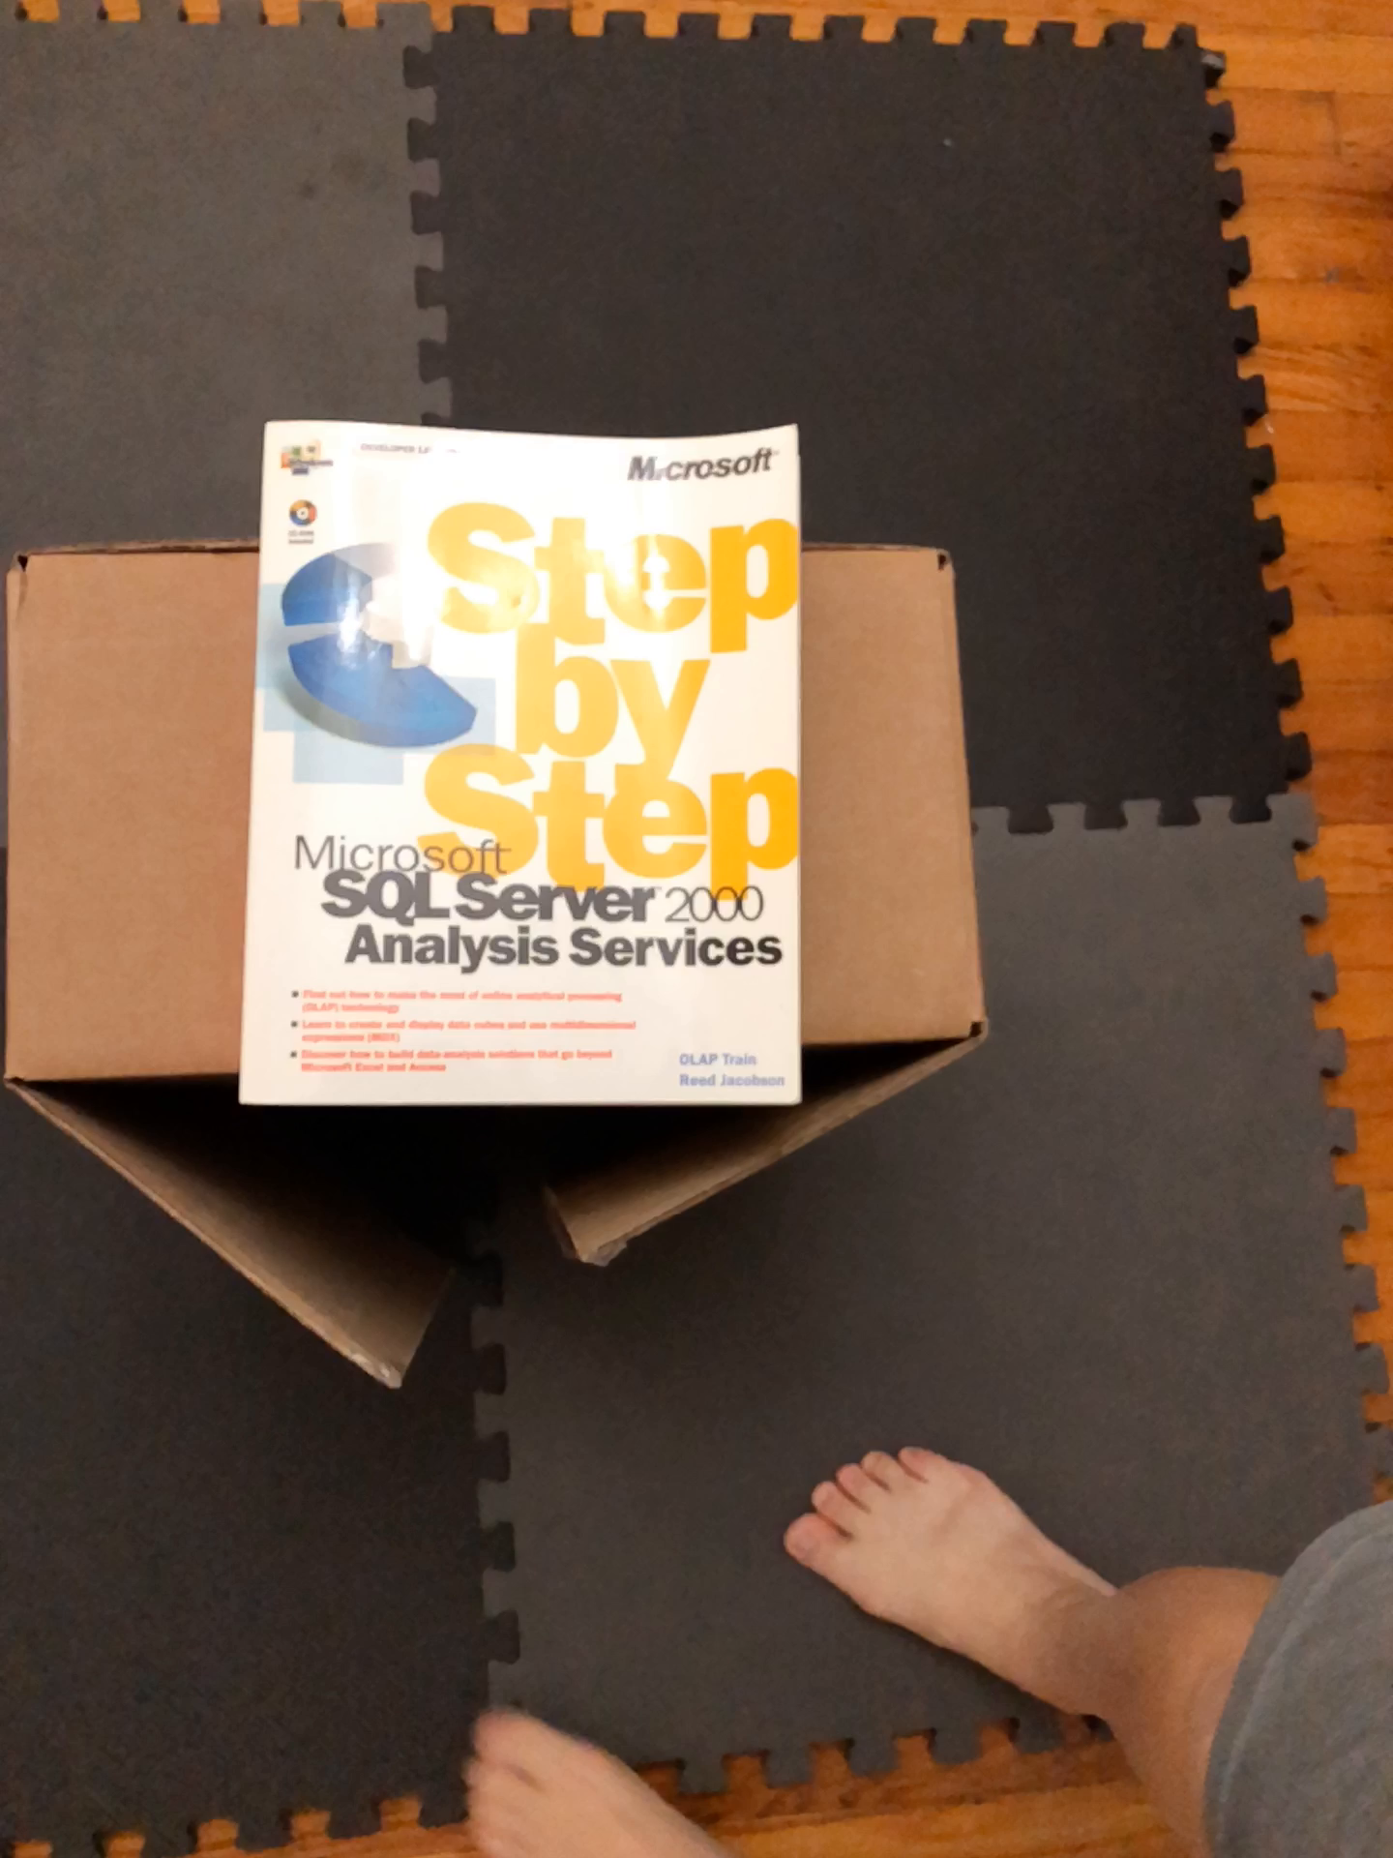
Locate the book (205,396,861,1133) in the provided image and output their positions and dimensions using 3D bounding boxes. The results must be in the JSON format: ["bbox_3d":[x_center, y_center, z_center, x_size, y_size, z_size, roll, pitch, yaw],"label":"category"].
[{"bbox_3d":[-0.058,-0.060,0.542,0.200,0.050,0.240,-4,85,-11],"label":"book"}]
